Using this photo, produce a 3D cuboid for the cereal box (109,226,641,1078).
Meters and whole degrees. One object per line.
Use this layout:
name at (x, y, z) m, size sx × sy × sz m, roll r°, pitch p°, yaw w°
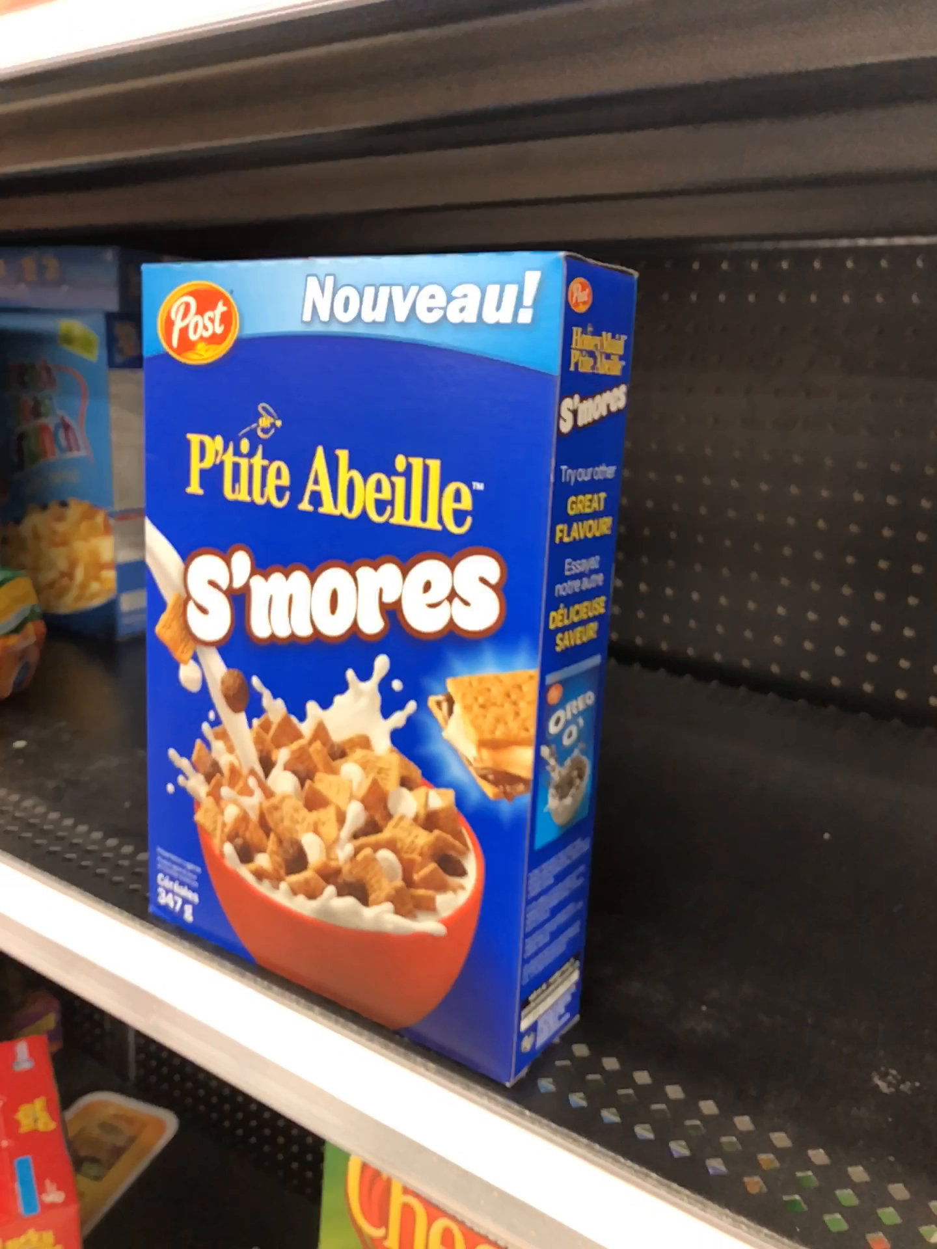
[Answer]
cereal box at (-0.048, 0.000, 0.409) m, size 0.200 × 0.279 × 0.060 m, roll 10°, pitch 14°, yaw 32°
